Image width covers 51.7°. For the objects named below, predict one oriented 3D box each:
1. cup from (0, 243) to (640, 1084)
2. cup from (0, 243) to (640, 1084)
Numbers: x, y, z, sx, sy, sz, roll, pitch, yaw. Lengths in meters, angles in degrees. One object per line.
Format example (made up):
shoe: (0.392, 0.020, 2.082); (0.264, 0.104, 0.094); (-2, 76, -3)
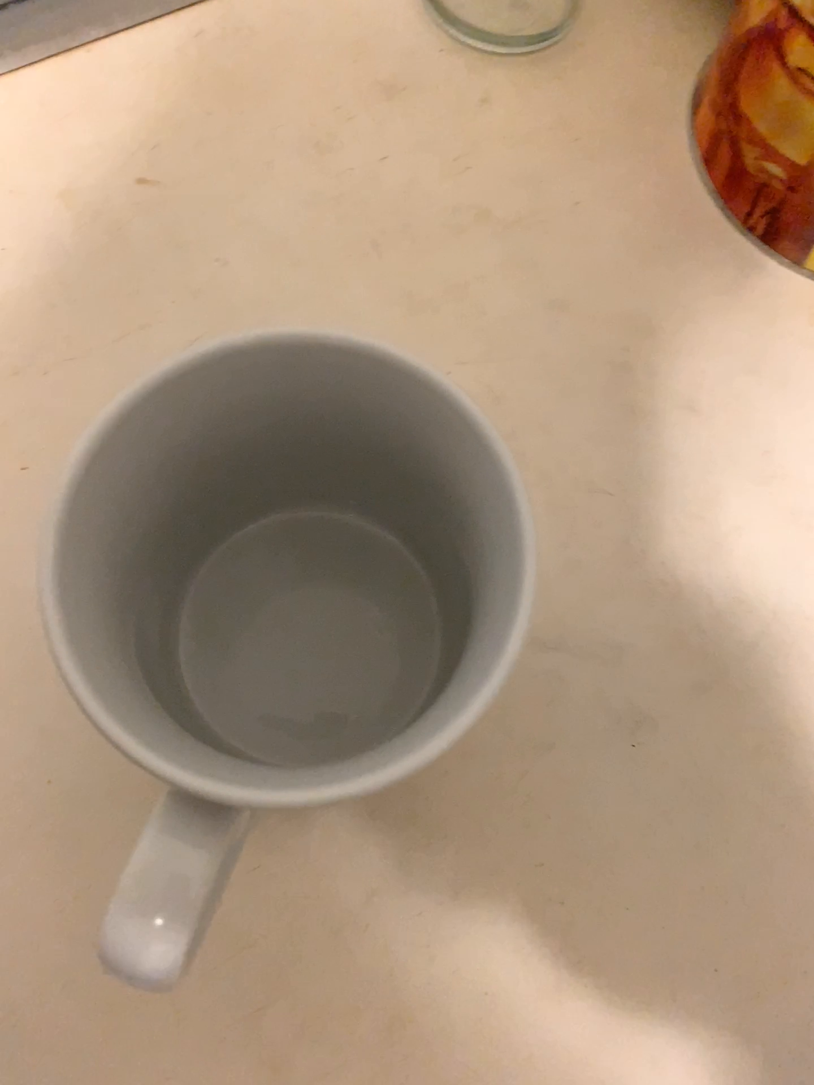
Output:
cup: (-0.025, 0.029, 0.204); (0.100, 0.110, 0.130); (18, 74, 0)
cup: (-0.025, 0.029, 0.204); (0.100, 0.110, 0.130); (18, 74, 0)
